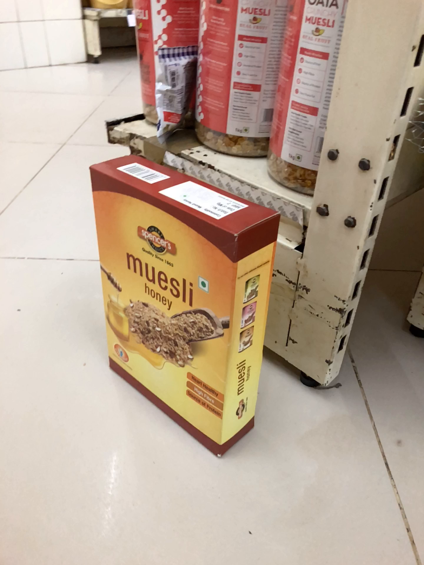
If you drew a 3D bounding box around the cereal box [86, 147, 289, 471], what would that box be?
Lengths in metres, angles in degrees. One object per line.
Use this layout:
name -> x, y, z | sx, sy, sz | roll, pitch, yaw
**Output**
cereal box -> -0.032, 0.025, 0.460 | 0.060, 0.258, 0.190 | -26, 42, -36
